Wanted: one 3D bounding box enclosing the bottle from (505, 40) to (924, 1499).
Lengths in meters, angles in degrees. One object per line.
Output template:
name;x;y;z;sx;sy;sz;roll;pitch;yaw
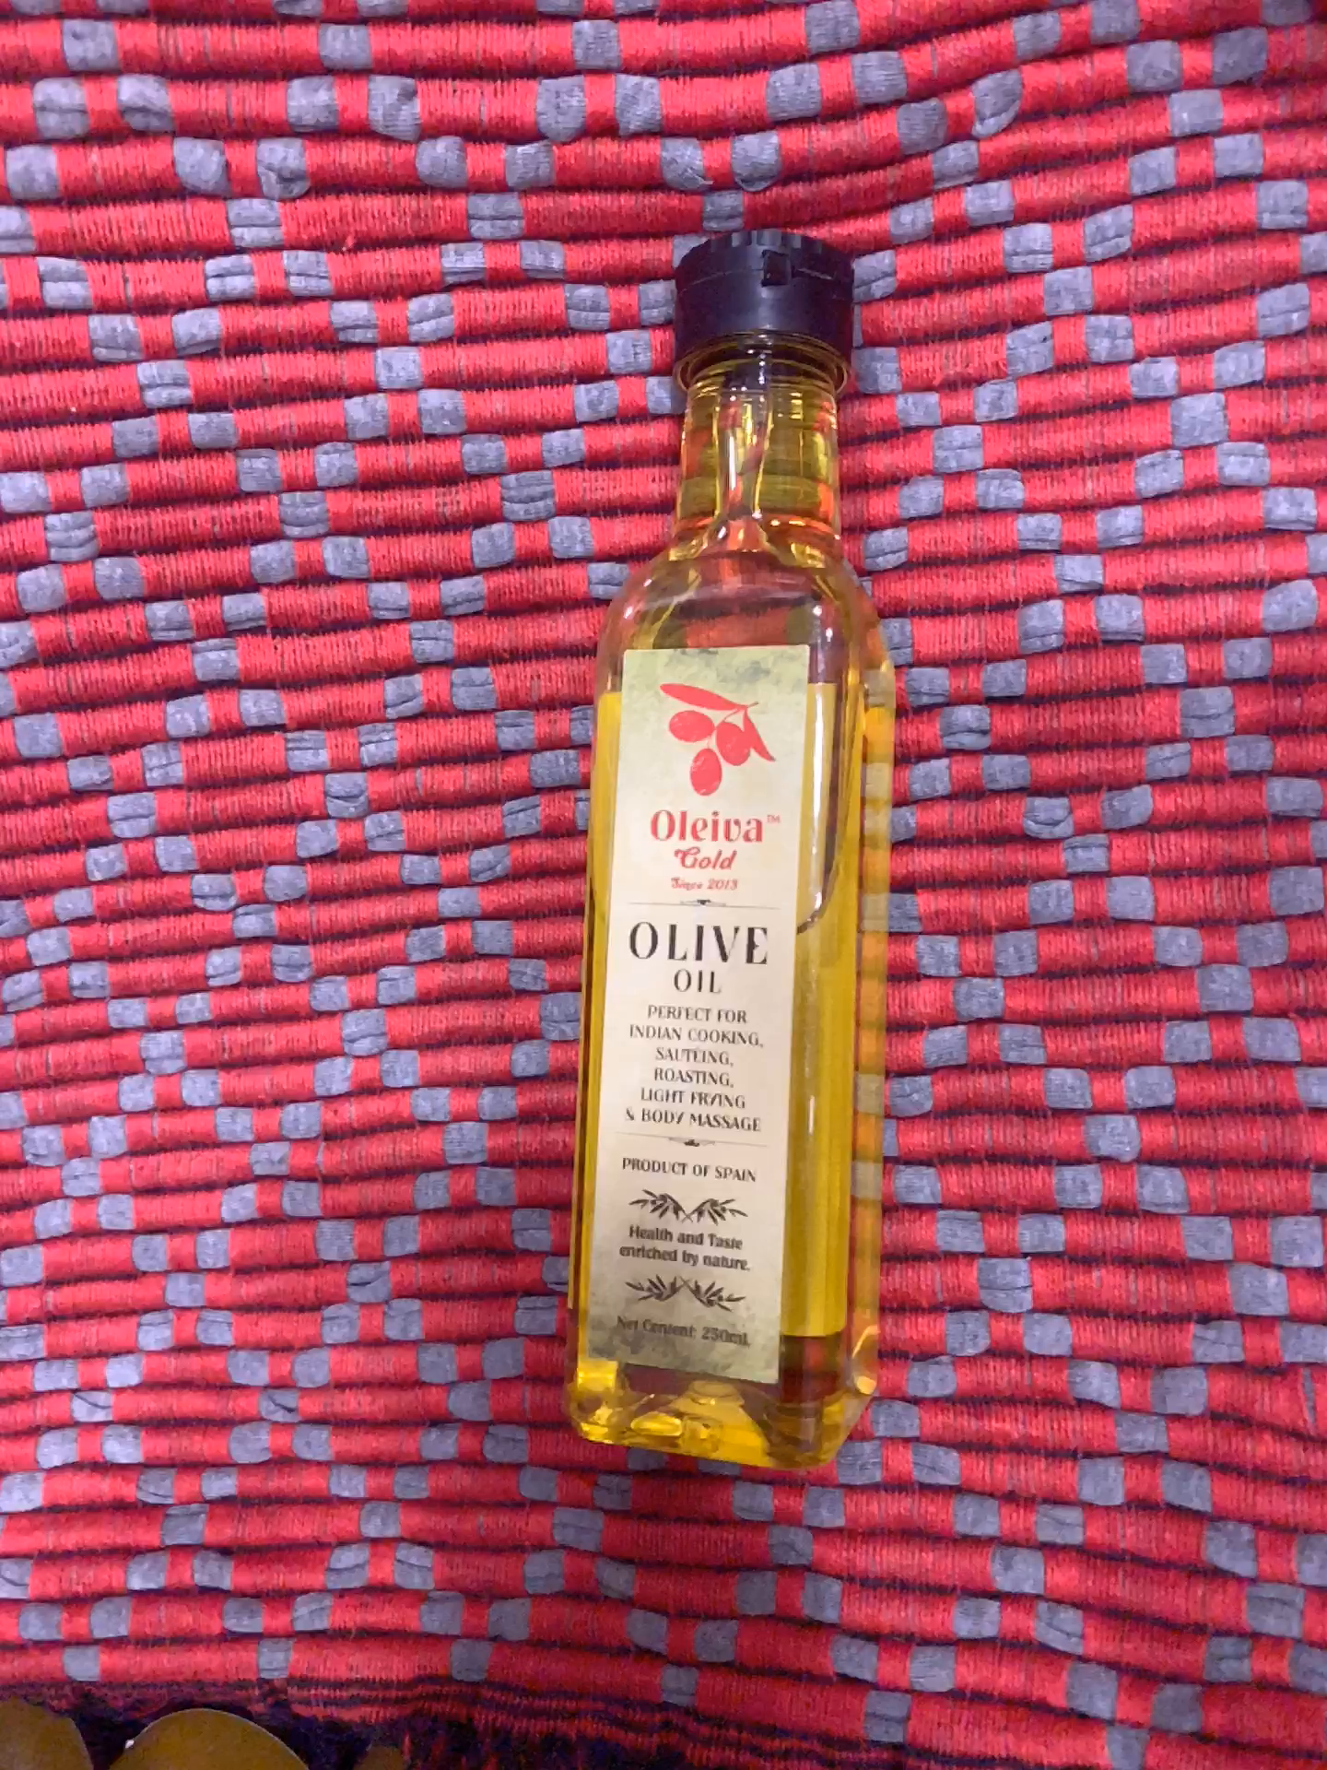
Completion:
bottle;0.012;-0.019;0.227;0.050;0.050;0.210;1;85;18
